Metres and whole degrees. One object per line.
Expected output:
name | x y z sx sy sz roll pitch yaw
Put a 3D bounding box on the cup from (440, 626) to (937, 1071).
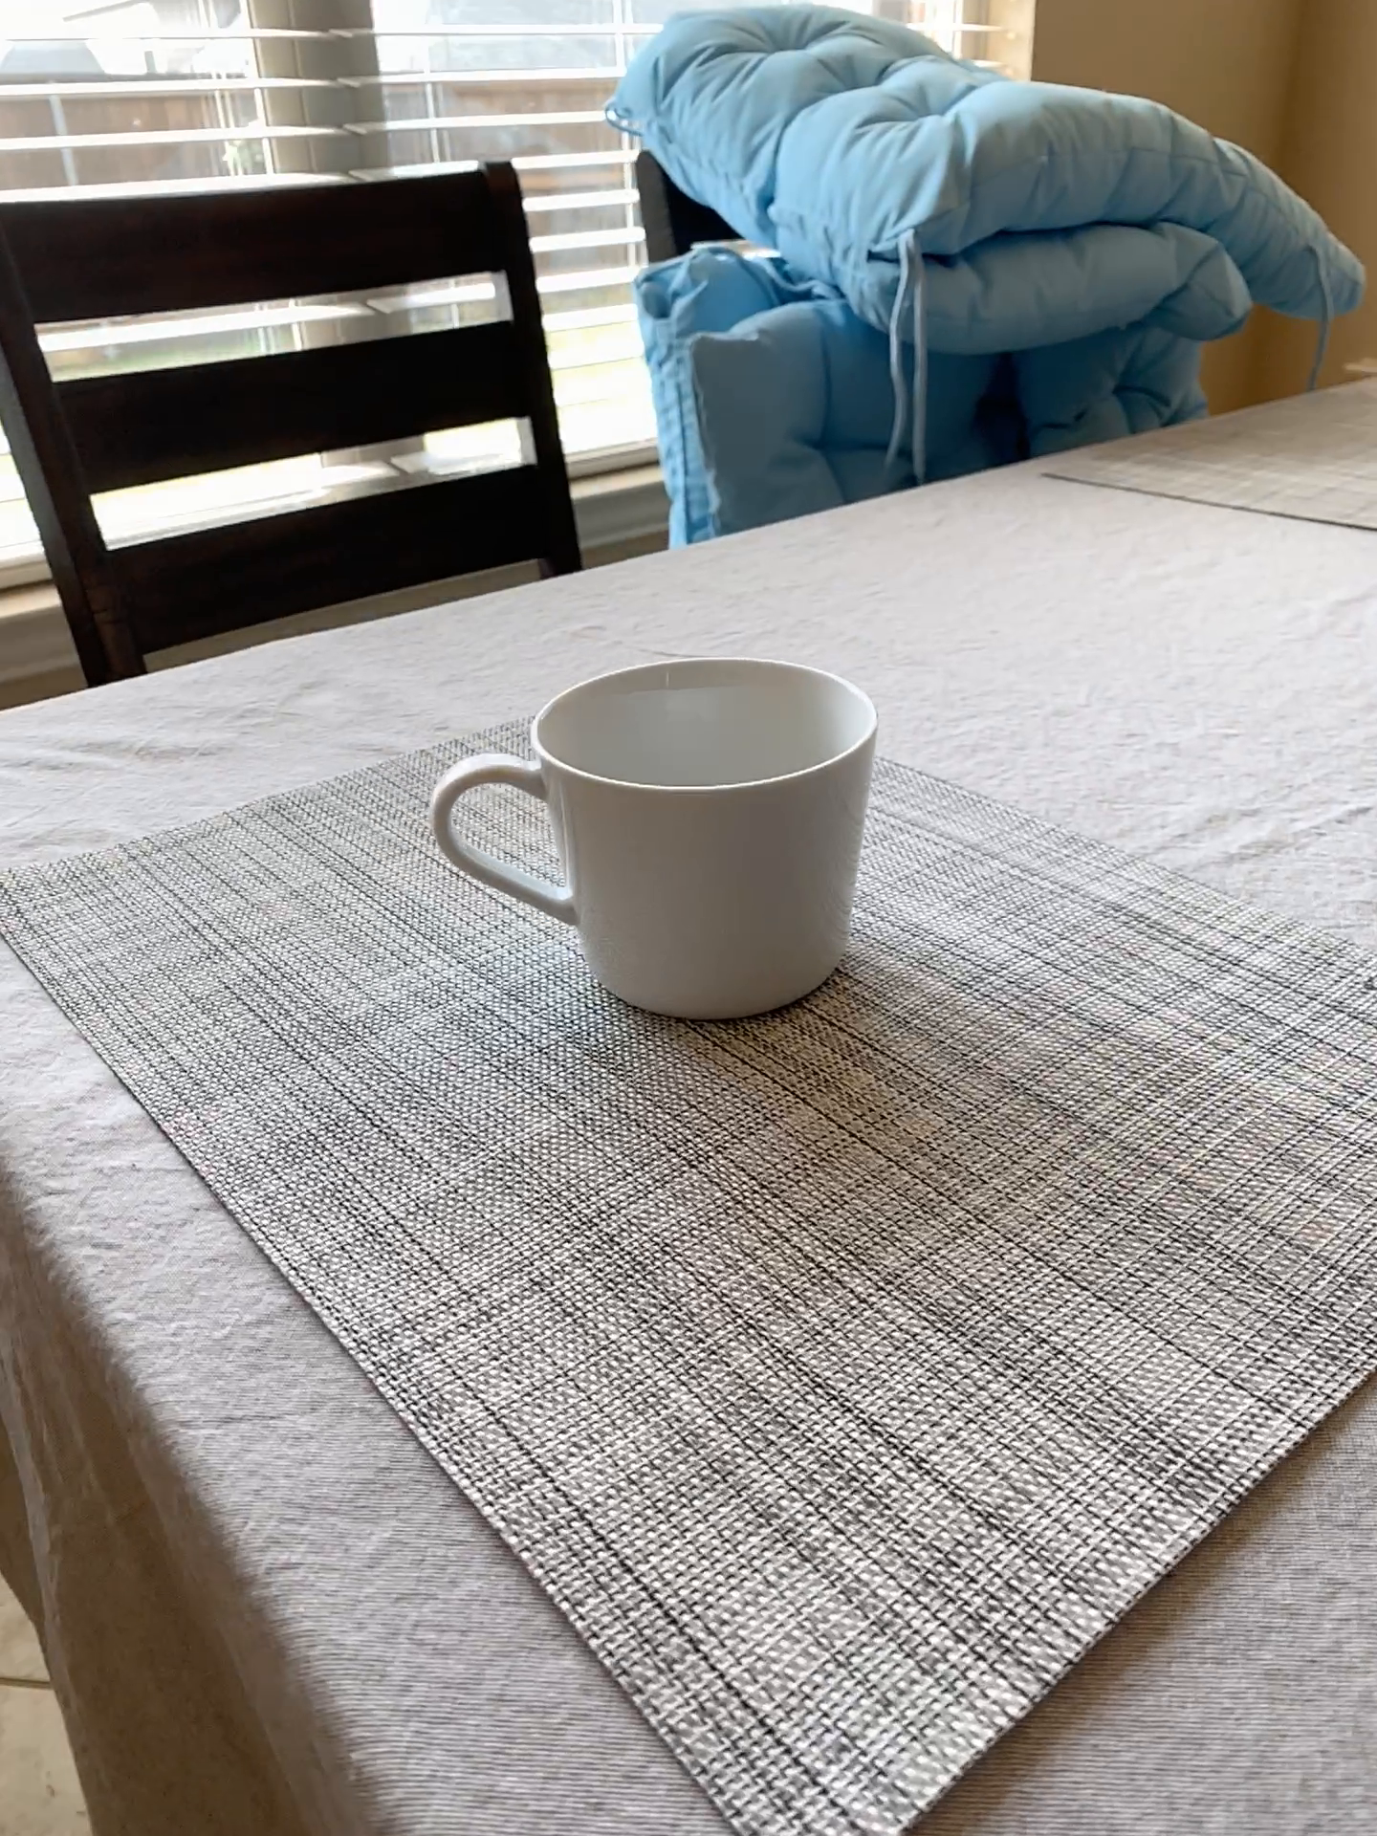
cup | -0.004 -0.026 0.424 0.121 0.081 0.101 -9 30 -11
